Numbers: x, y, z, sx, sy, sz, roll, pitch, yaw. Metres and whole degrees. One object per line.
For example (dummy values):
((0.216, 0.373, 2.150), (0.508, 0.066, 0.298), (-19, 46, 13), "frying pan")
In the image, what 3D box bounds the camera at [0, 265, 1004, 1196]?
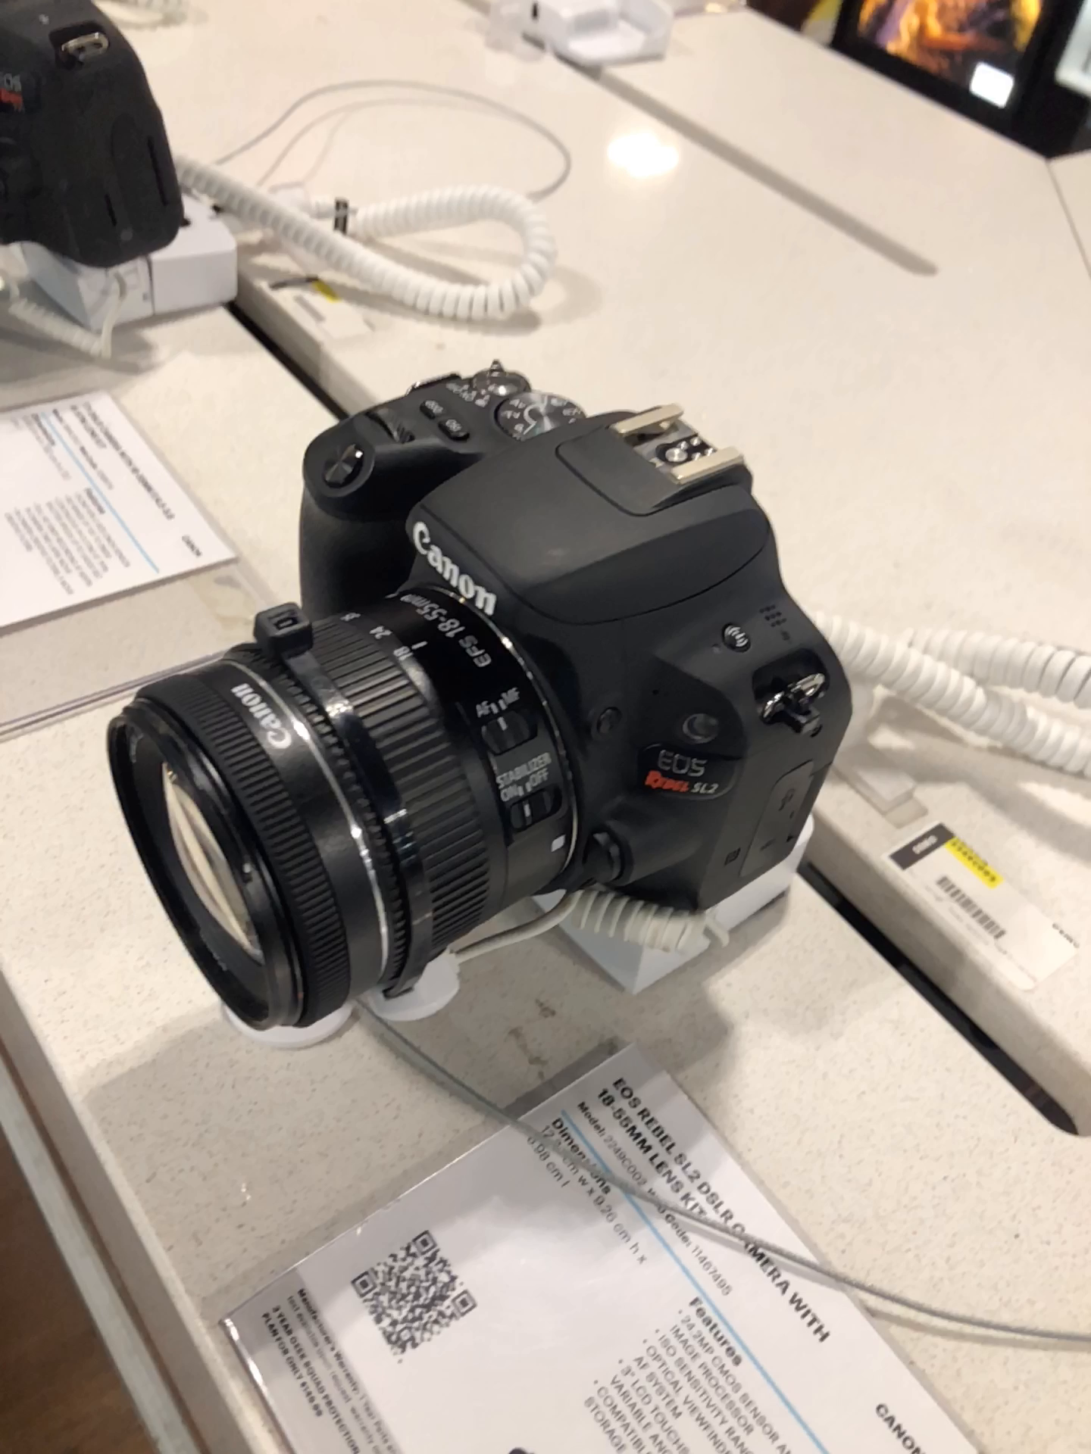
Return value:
((-0.019, -0.016, 0.242), (0.150, 0.070, 0.131), (-25, 56, -29), "camera")
